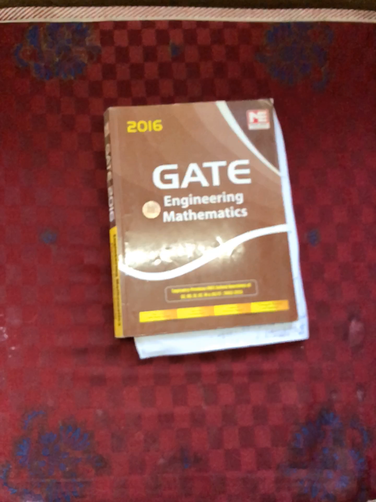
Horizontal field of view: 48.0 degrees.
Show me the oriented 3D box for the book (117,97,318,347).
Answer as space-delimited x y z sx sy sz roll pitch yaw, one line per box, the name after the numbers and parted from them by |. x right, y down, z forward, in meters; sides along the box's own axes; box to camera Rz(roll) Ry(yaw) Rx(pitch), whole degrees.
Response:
0.030 -0.042 0.536 0.220 0.040 0.300 -4 80 -4 | book
